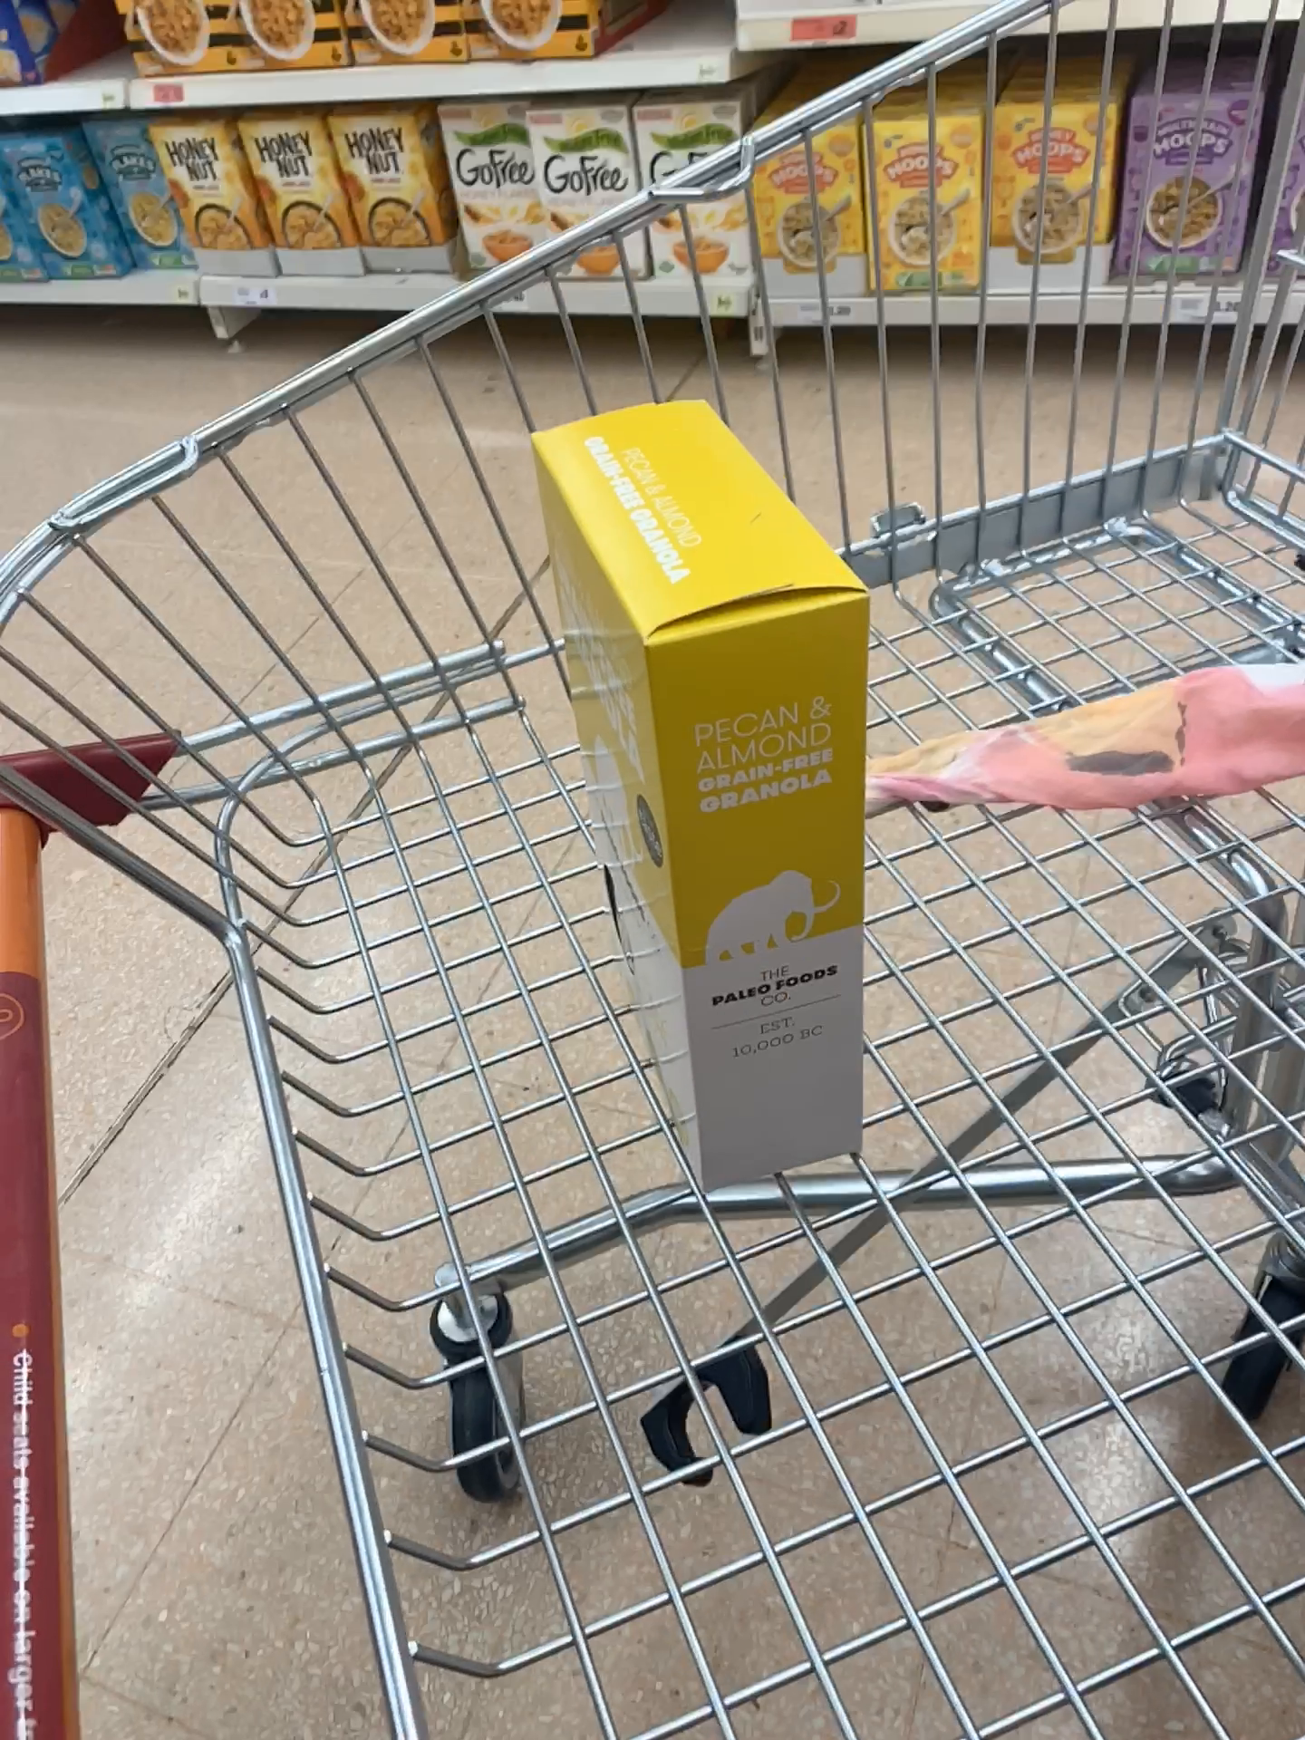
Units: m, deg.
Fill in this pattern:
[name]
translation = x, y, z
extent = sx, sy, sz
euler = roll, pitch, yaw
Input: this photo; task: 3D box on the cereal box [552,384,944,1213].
[cereal box]
translation = 0.026, -0.017, 0.408
extent = 0.060, 0.208, 0.131
euler = -14, 42, -9
